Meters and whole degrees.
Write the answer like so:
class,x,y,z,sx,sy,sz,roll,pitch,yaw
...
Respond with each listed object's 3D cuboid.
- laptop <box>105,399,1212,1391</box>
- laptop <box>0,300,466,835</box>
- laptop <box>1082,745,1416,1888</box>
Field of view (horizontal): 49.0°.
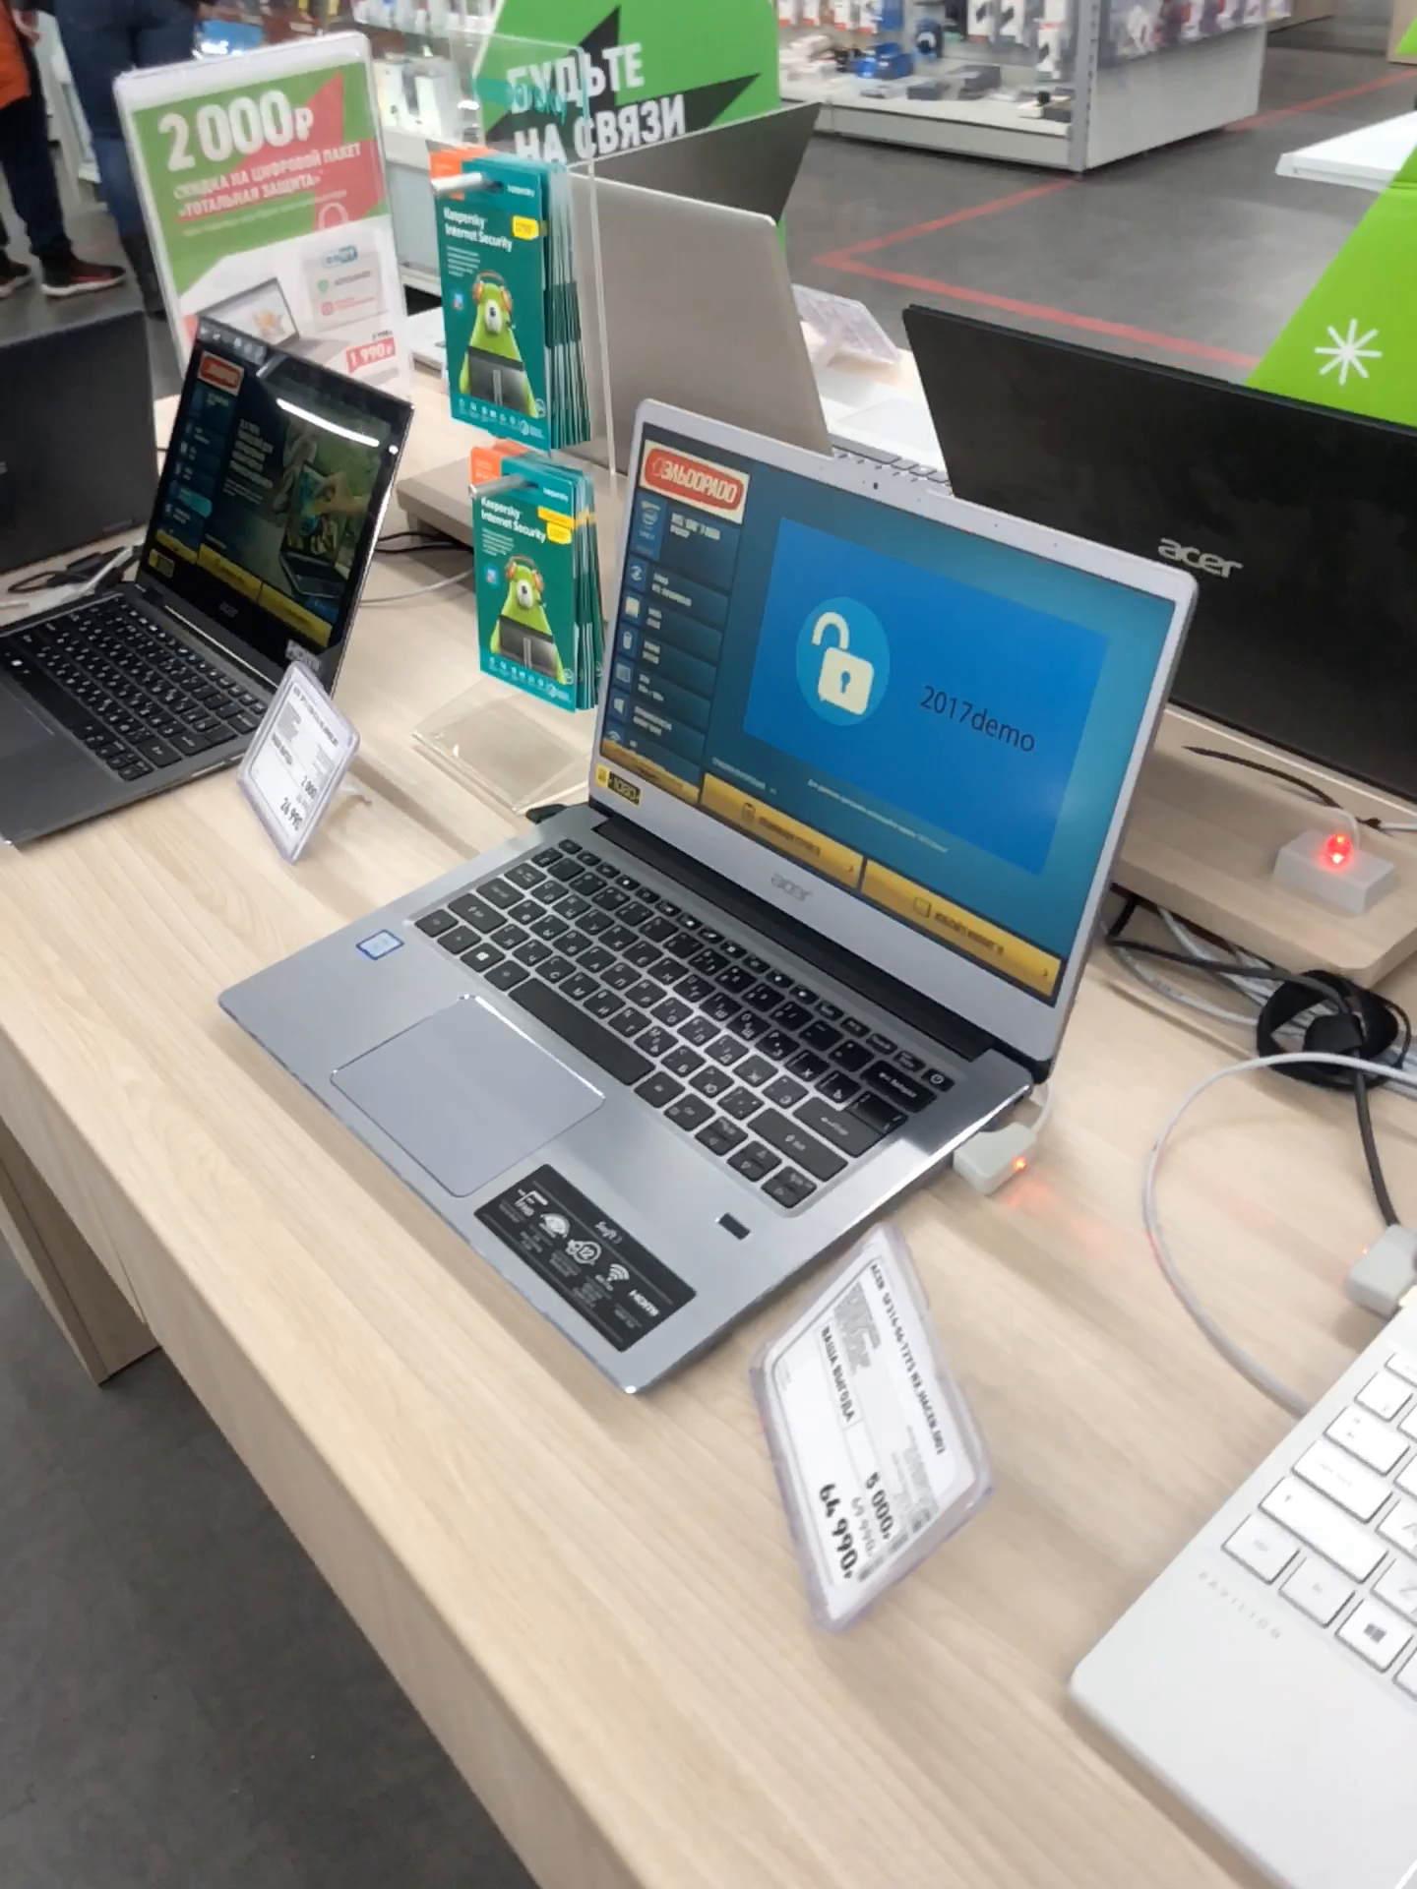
class,x,y,z,sx,sy,sz,roll,pitch,yaw
laptop,-0.022,-0.056,0.668,0.303,0.197,0.316,-32,45,-28
laptop,-0.377,-0.259,0.995,0.312,0.159,0.280,-31,45,-26
laptop,0.325,0.144,0.390,0.322,0.164,0.306,-33,45,-27
